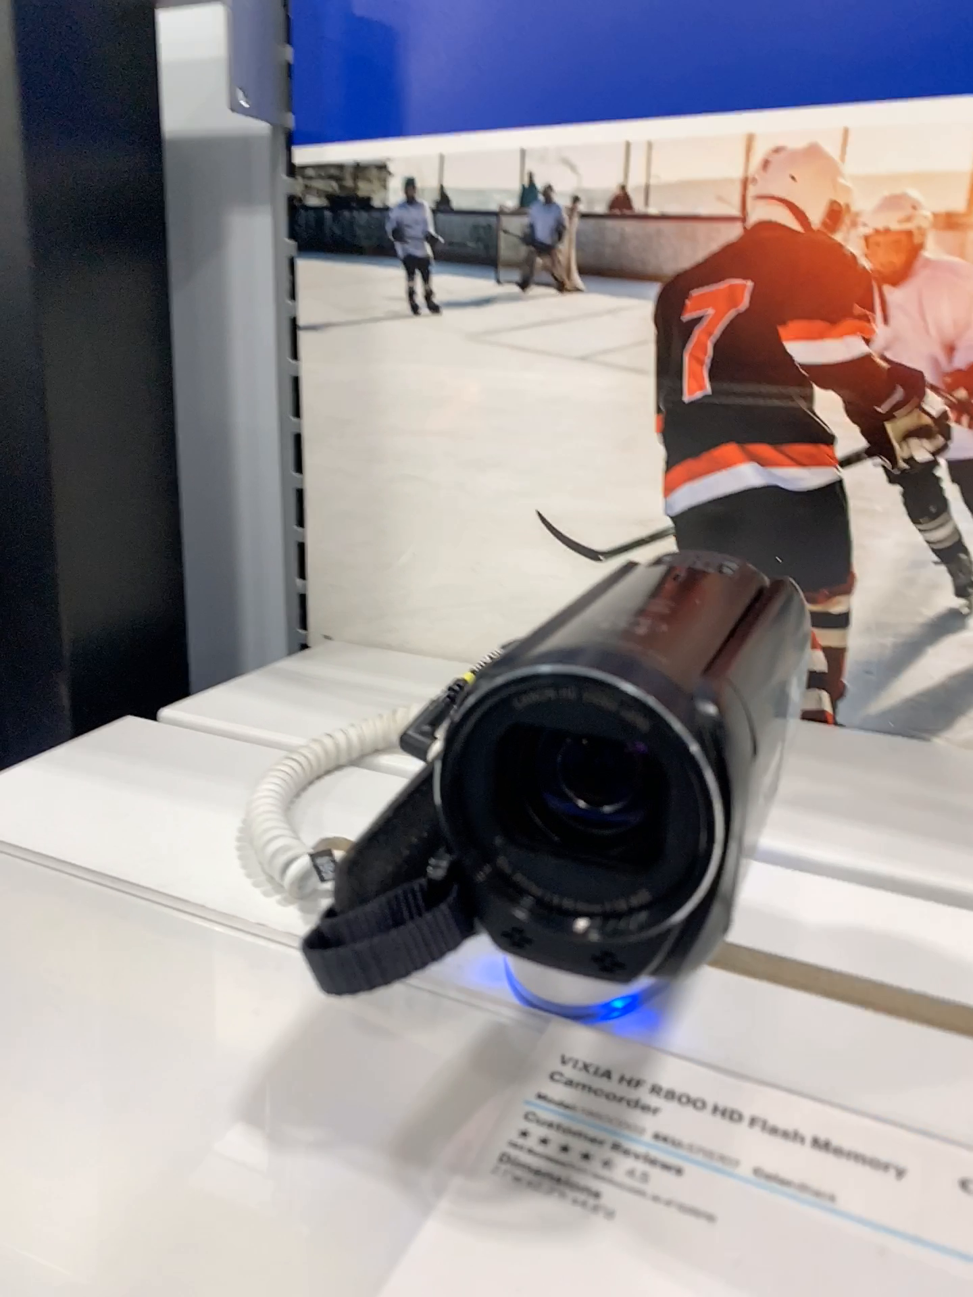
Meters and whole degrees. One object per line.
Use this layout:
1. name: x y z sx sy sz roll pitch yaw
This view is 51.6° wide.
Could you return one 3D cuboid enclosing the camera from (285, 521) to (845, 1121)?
1. camera: 0.028 0.018 0.217 0.072 0.062 0.140 10 19 23
